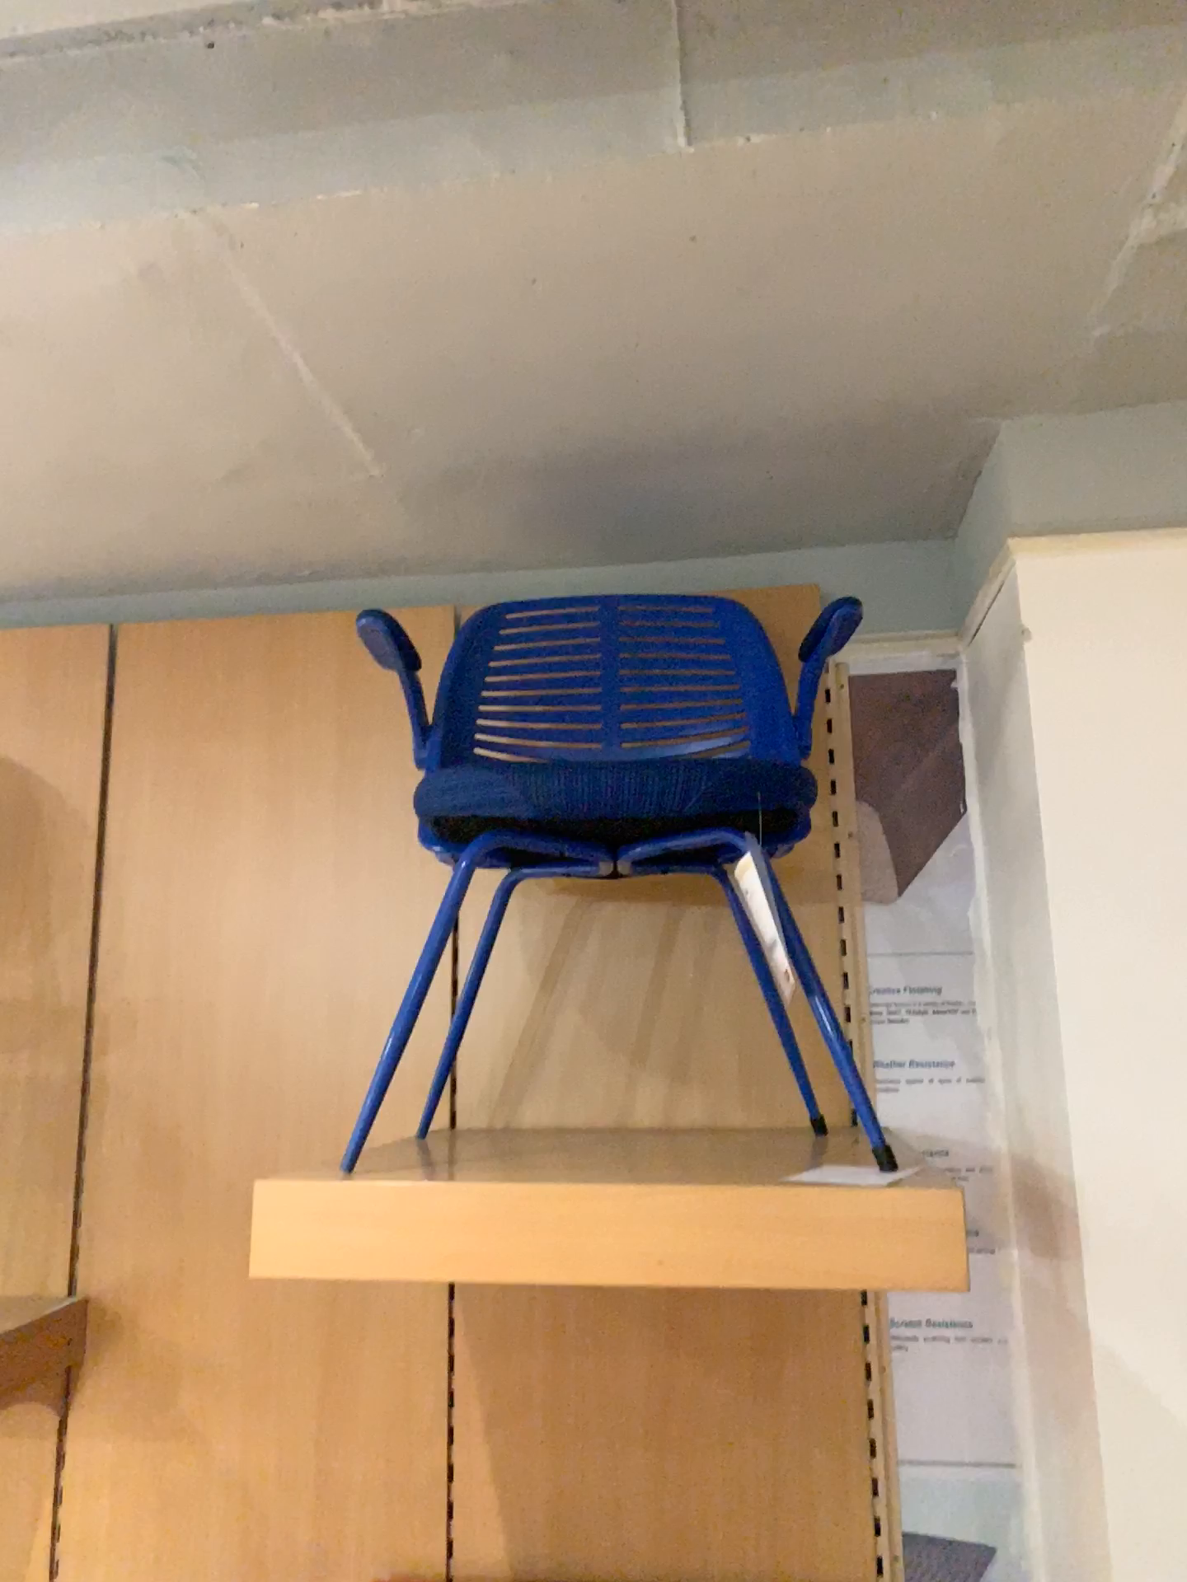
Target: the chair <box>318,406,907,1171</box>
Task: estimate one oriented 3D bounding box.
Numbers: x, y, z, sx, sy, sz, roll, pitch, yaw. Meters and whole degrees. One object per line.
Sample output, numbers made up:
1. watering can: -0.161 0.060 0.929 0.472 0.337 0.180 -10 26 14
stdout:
1. chair: 0.022 0.029 1.524 0.570 0.792 0.549 -2 -12 3
